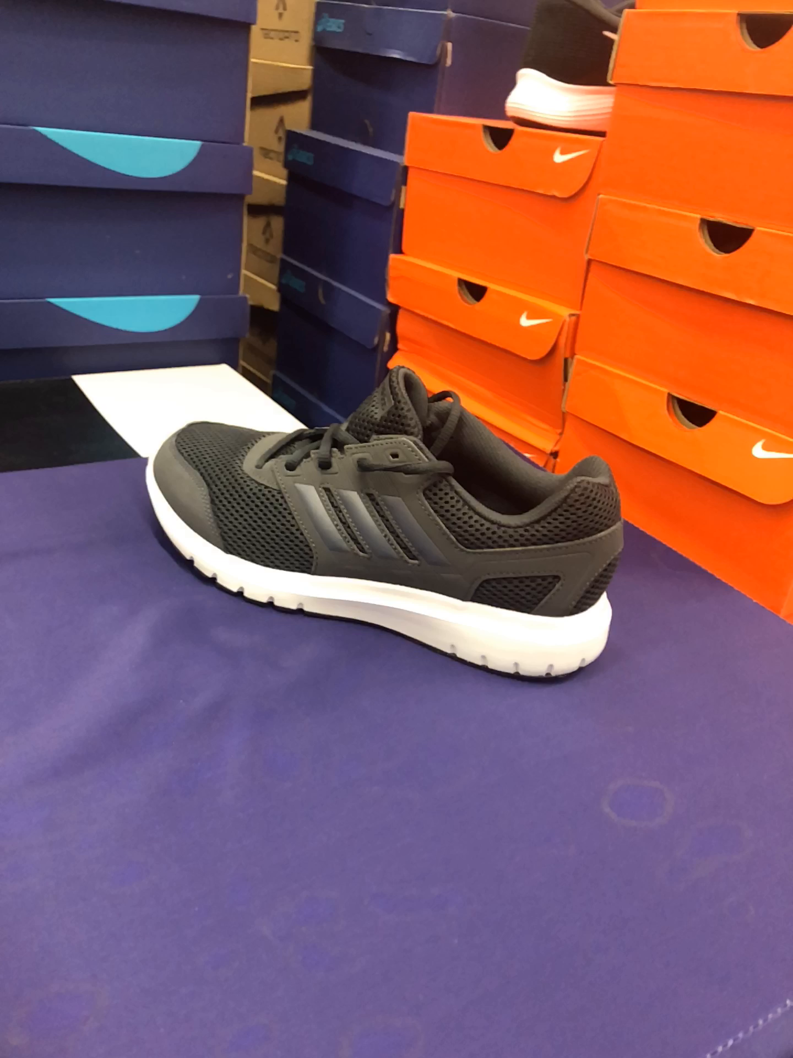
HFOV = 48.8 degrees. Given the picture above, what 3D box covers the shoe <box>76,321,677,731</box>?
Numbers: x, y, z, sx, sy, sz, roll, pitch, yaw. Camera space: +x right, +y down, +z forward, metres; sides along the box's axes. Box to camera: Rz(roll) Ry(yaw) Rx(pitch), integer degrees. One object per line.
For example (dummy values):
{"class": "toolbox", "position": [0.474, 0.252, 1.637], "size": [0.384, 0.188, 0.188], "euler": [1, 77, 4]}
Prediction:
{"class": "shoe", "position": [-0.016, -0.015, 0.453], "size": [0.280, 0.107, 0.102], "euler": [17, 28, 17]}
